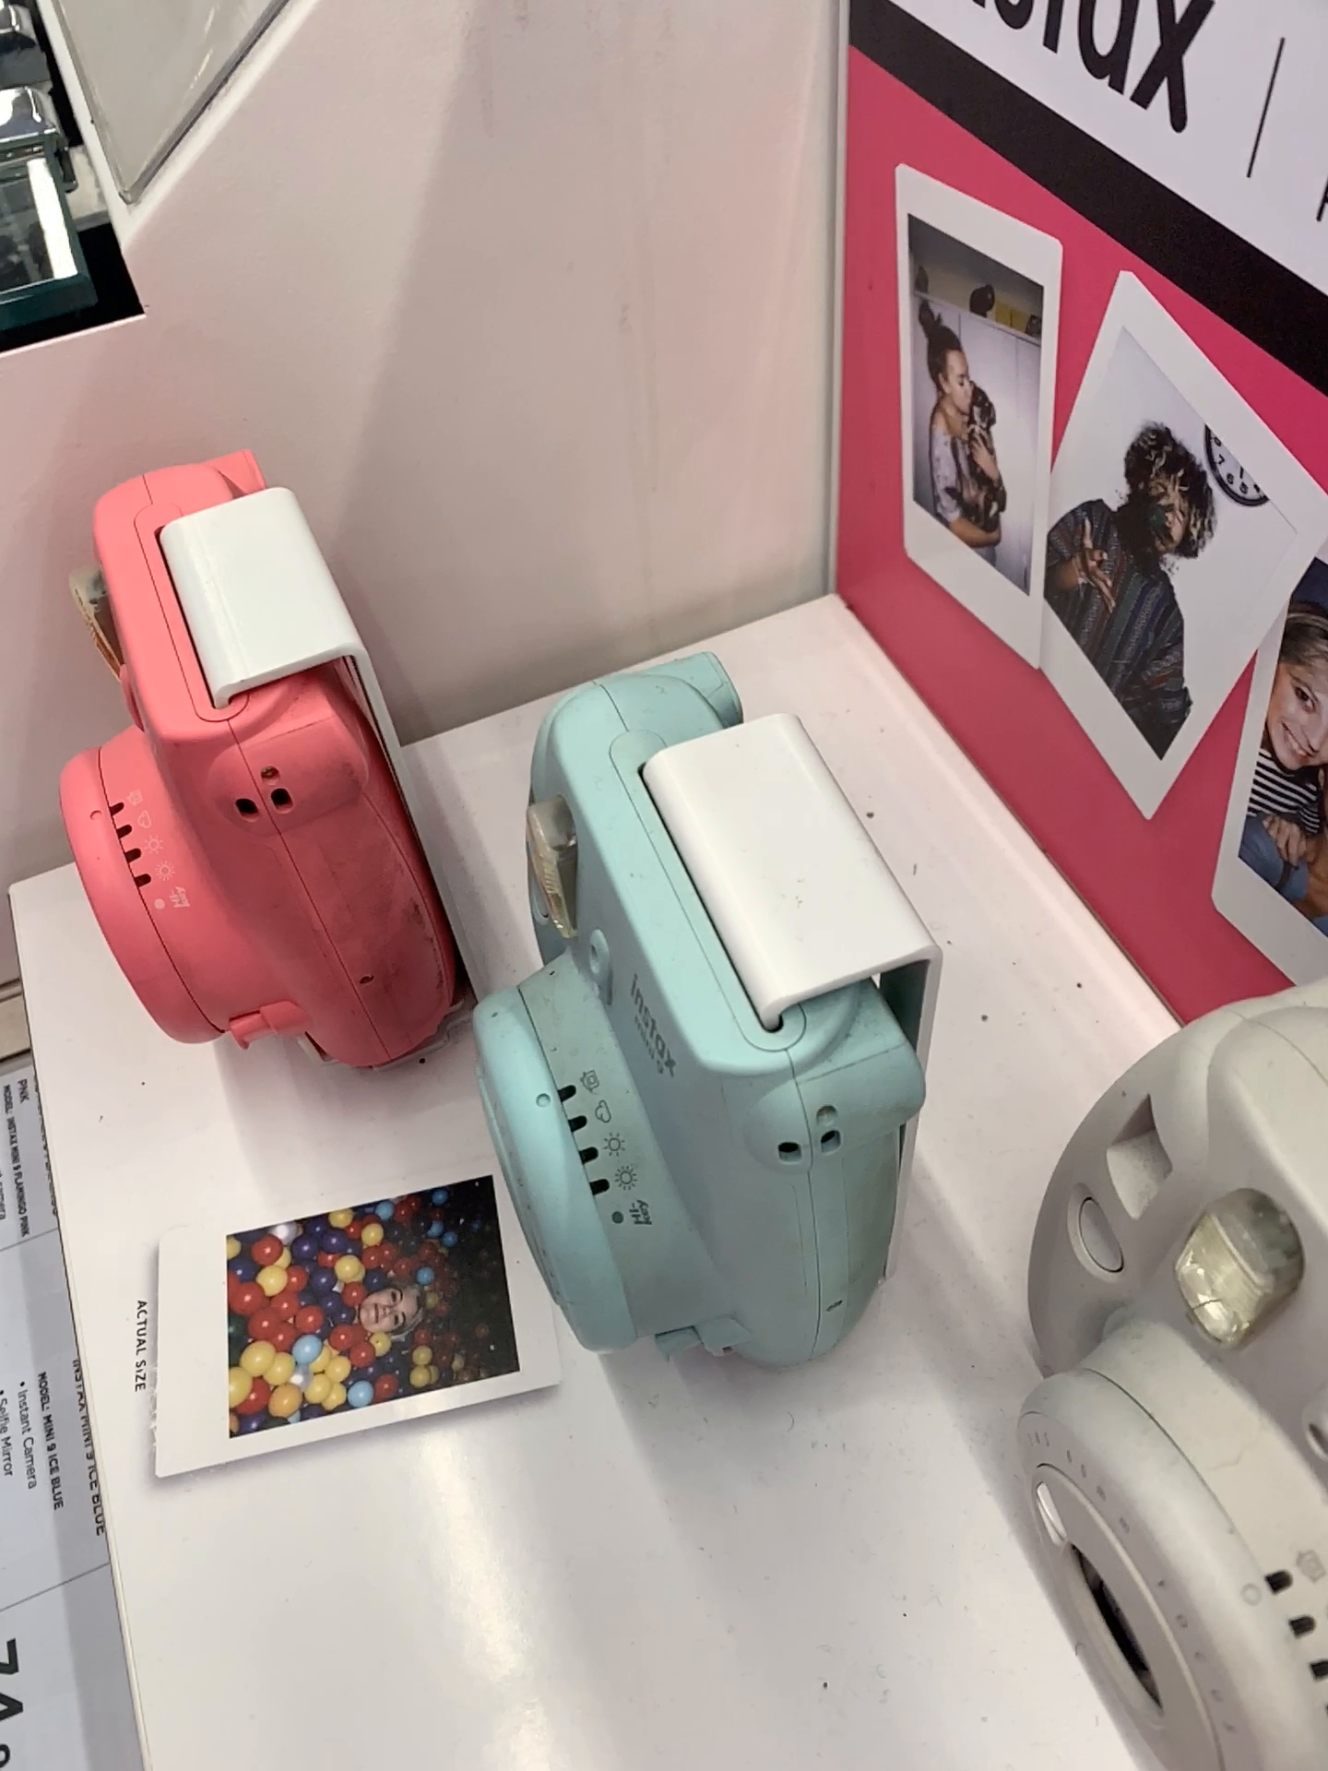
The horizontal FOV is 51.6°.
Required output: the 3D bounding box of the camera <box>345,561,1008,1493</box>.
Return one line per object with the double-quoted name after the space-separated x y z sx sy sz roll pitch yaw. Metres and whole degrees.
0.000 0.031 0.263 0.070 0.129 0.111 -18 53 -8 "camera"
